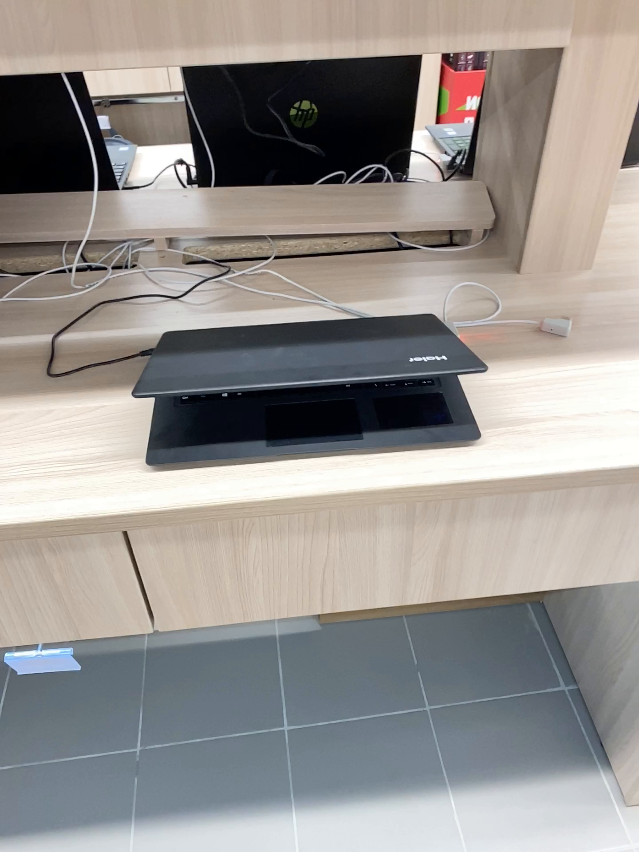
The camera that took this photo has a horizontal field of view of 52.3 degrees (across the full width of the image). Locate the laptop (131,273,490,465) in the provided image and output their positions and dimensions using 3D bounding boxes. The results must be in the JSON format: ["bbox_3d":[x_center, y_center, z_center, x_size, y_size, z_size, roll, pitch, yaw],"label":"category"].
[{"bbox_3d":[-0.013,-0.069,0.677,0.319,0.071,0.202,-4,41,-3],"label":"laptop"}]
